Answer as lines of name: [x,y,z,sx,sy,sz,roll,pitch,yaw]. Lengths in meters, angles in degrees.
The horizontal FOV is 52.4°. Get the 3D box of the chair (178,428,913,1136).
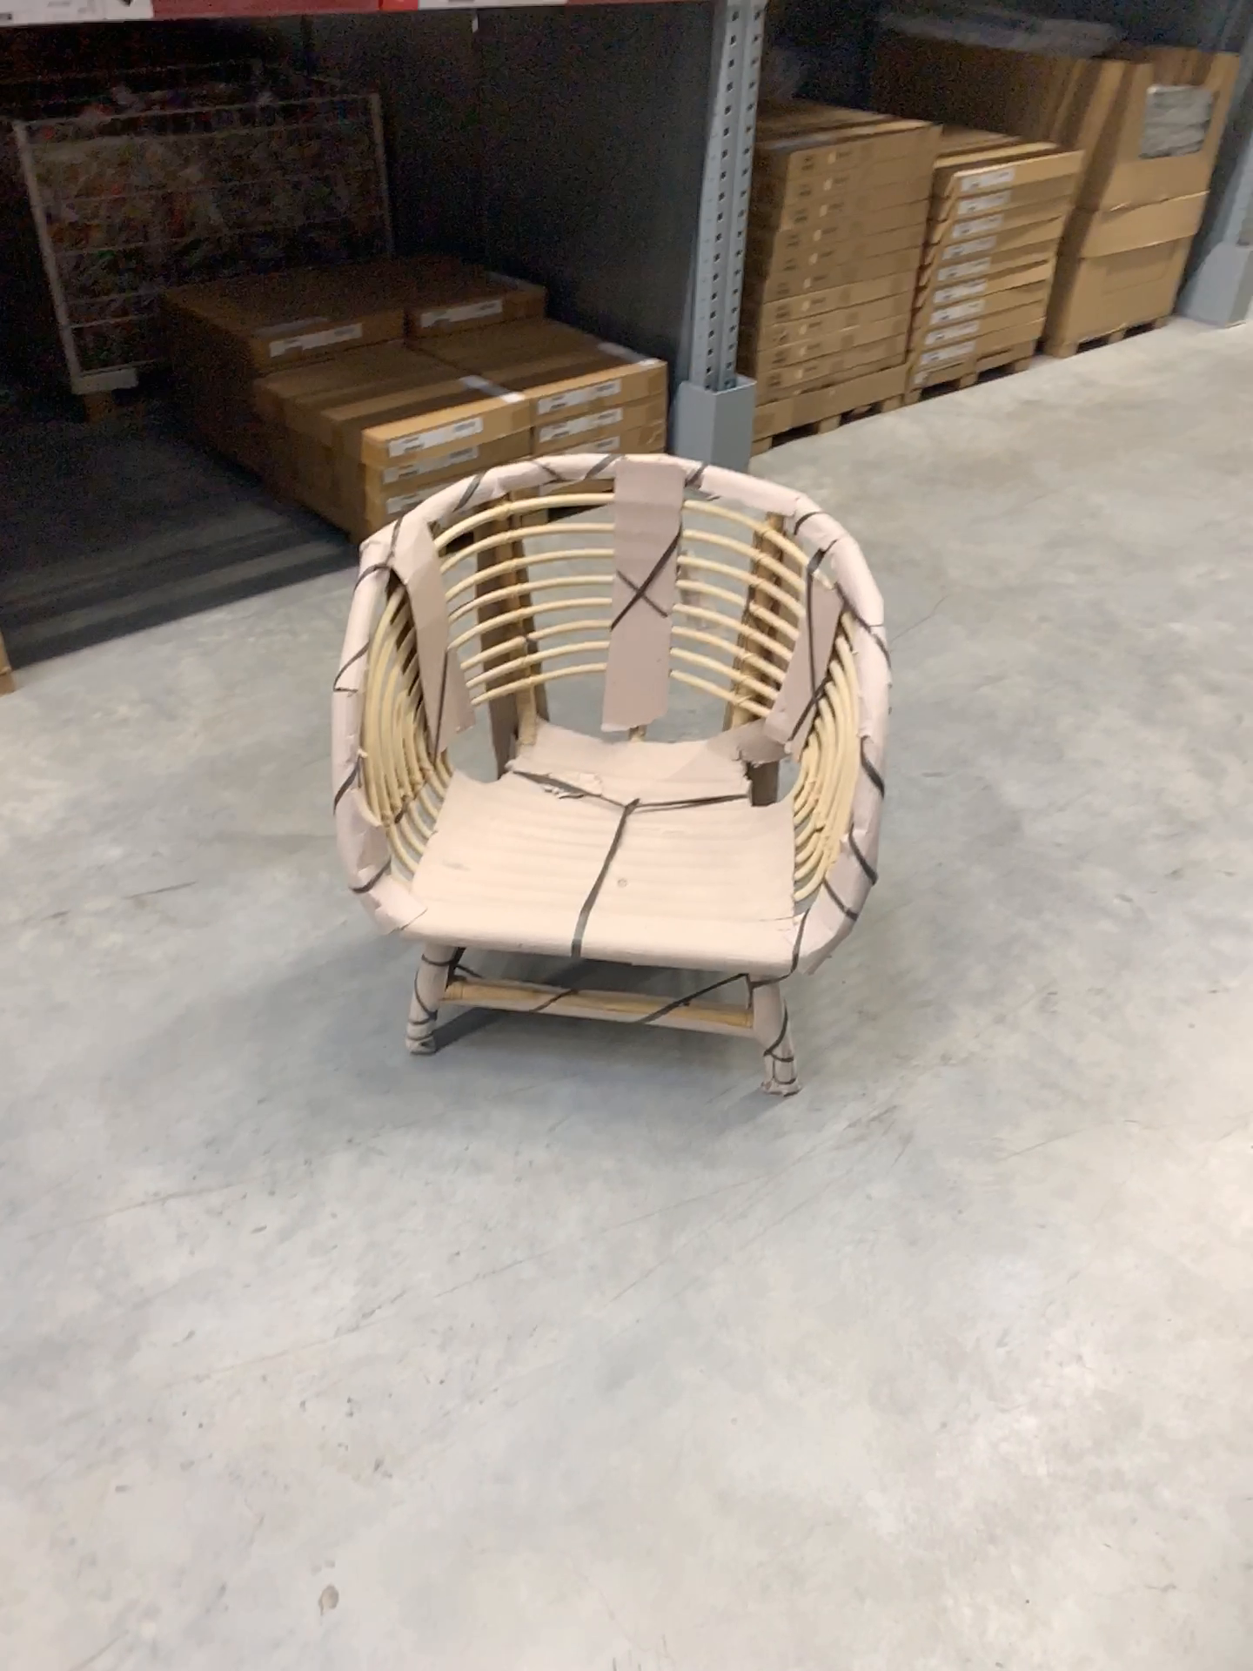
chair: [-0.047,-0.121,1.750,0.750,0.568,0.763,6,37,5]
